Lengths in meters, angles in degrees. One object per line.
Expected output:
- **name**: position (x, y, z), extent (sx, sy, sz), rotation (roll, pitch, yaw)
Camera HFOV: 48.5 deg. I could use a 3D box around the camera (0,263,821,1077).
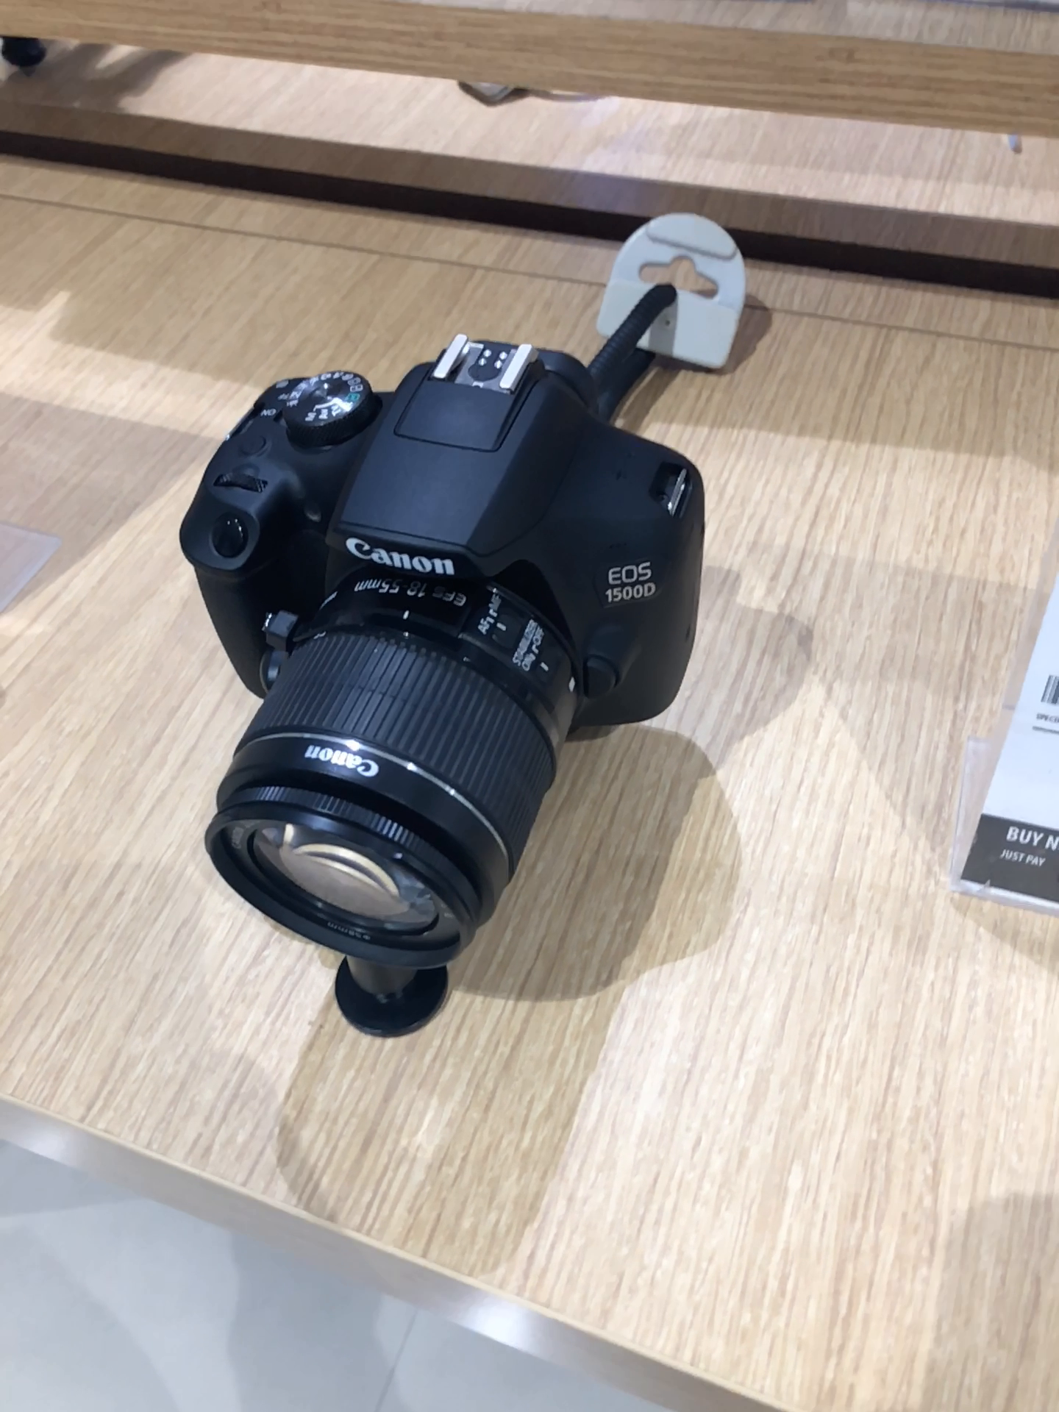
- **camera**: position (-0.018, -0.017, 0.273), extent (0.130, 0.090, 0.141), rotation (14, 53, 16)
